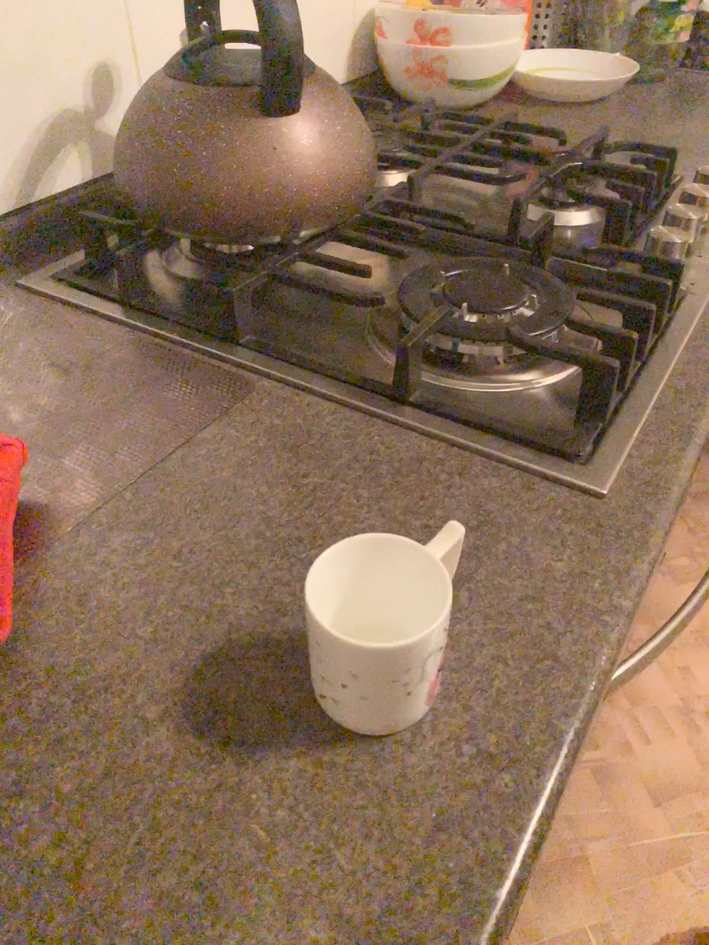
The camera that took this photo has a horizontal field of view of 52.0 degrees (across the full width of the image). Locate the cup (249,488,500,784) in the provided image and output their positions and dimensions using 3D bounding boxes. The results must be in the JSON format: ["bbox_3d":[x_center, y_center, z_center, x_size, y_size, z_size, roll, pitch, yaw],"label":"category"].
[{"bbox_3d":[0.009,0.066,0.307,0.060,0.069,0.080,32,50,33],"label":"cup"}]
